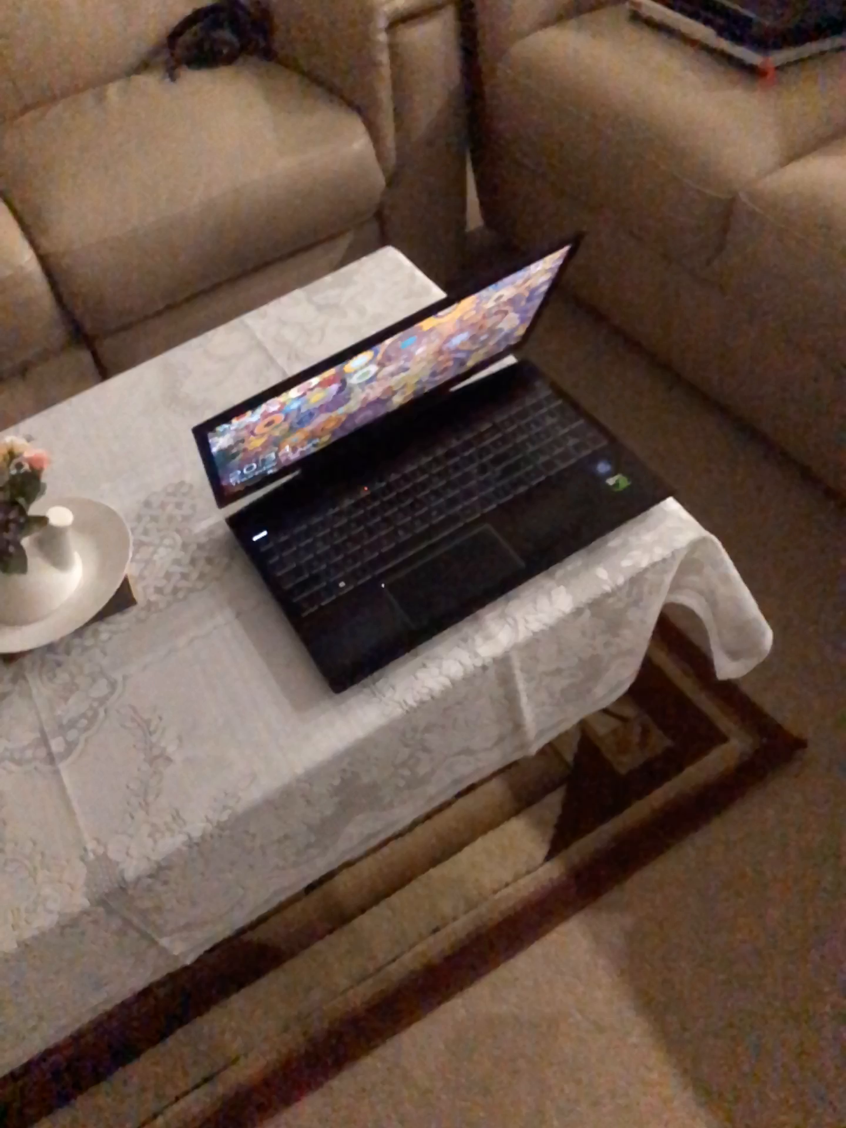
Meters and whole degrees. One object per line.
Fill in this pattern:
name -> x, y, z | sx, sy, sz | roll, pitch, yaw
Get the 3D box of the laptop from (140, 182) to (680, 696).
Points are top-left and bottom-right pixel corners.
laptop -> -0.004, -0.117, 0.799 | 0.355, 0.199, 0.243 | -30, 52, -13
